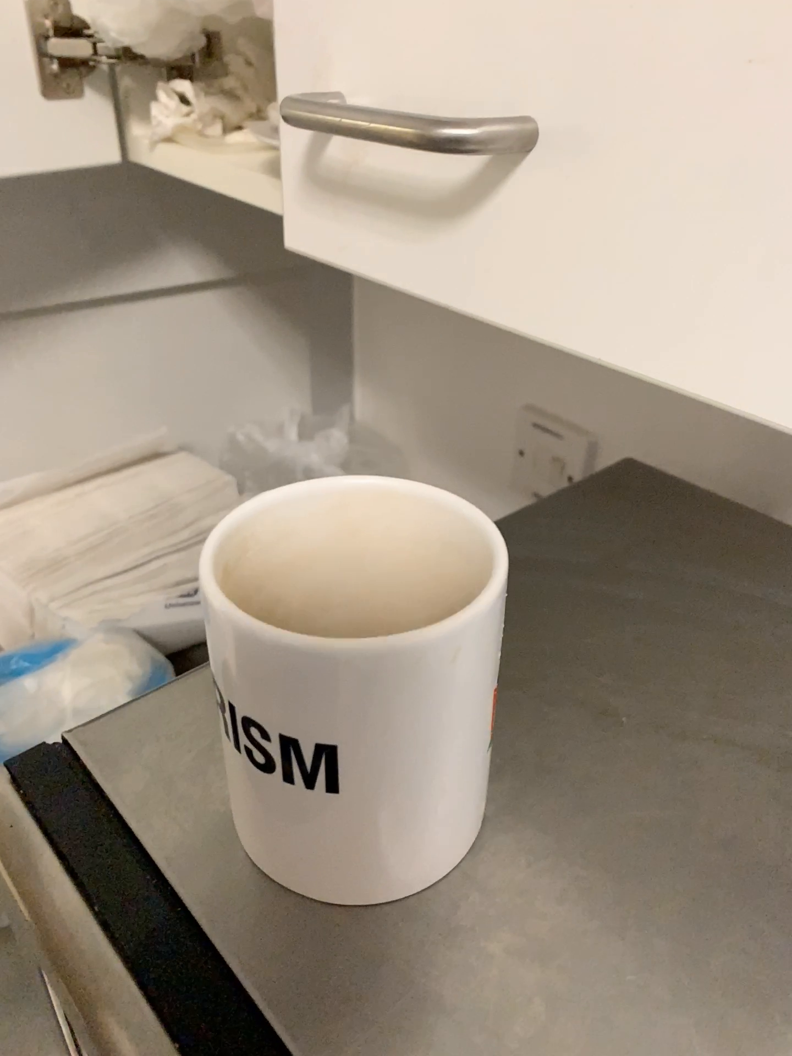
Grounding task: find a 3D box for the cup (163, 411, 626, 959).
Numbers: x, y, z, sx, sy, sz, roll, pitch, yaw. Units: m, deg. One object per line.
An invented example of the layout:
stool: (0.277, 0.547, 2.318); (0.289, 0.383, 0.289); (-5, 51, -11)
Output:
cup: (-0.009, 0.037, 0.258); (0.094, 0.099, 0.114); (-12, 33, -21)
